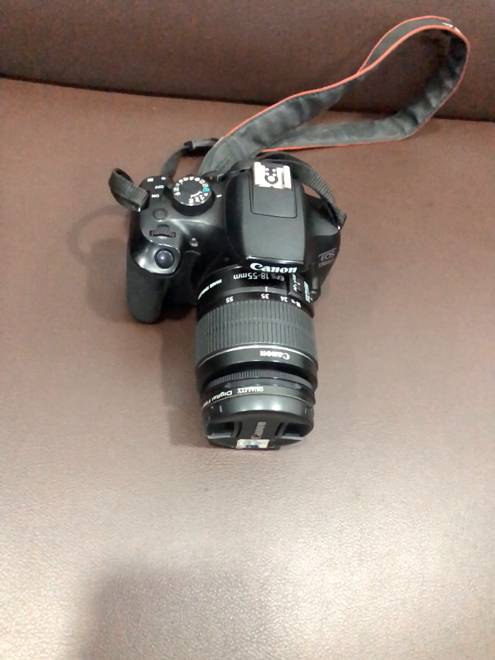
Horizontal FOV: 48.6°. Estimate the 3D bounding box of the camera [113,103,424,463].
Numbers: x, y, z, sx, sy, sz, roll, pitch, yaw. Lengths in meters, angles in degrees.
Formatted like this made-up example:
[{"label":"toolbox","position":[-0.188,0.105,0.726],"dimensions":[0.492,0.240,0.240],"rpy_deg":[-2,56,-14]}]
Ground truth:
[{"label":"camera","position":[-0.001,-0.024,0.306],"dimensions":[0.130,0.090,0.171],"rpy_deg":[4,57,-12]}]
